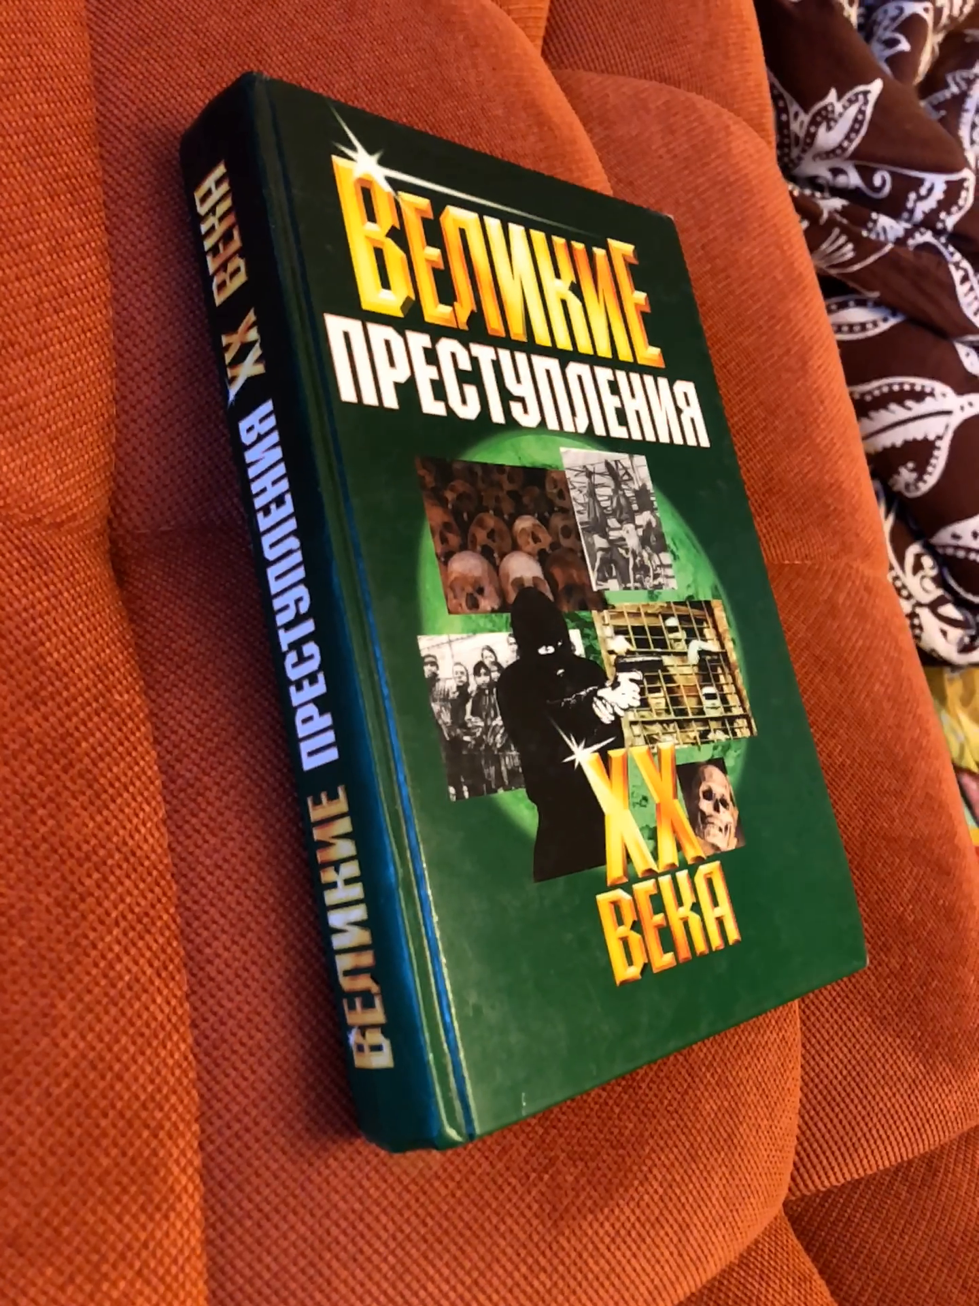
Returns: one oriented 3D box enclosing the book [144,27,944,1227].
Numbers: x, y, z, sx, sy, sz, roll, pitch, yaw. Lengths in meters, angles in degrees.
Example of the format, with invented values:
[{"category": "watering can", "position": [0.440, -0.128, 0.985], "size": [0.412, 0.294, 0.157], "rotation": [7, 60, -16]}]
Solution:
[{"category": "book", "position": [0.018, -0.015, 0.264], "size": [0.161, 0.040, 0.230], "rotation": [-3, 75, -40]}]
